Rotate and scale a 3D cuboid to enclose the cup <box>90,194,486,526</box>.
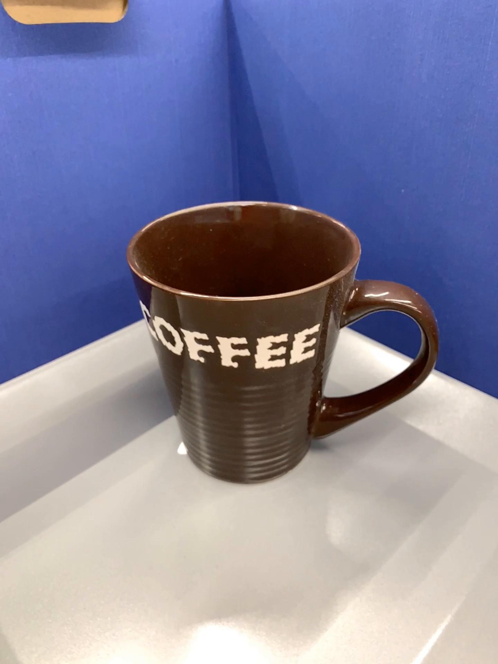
[{"bbox_3d":[0.018,0.005,0.230,0.128,0.098,0.090,6,33,11],"label":"cup"}]
